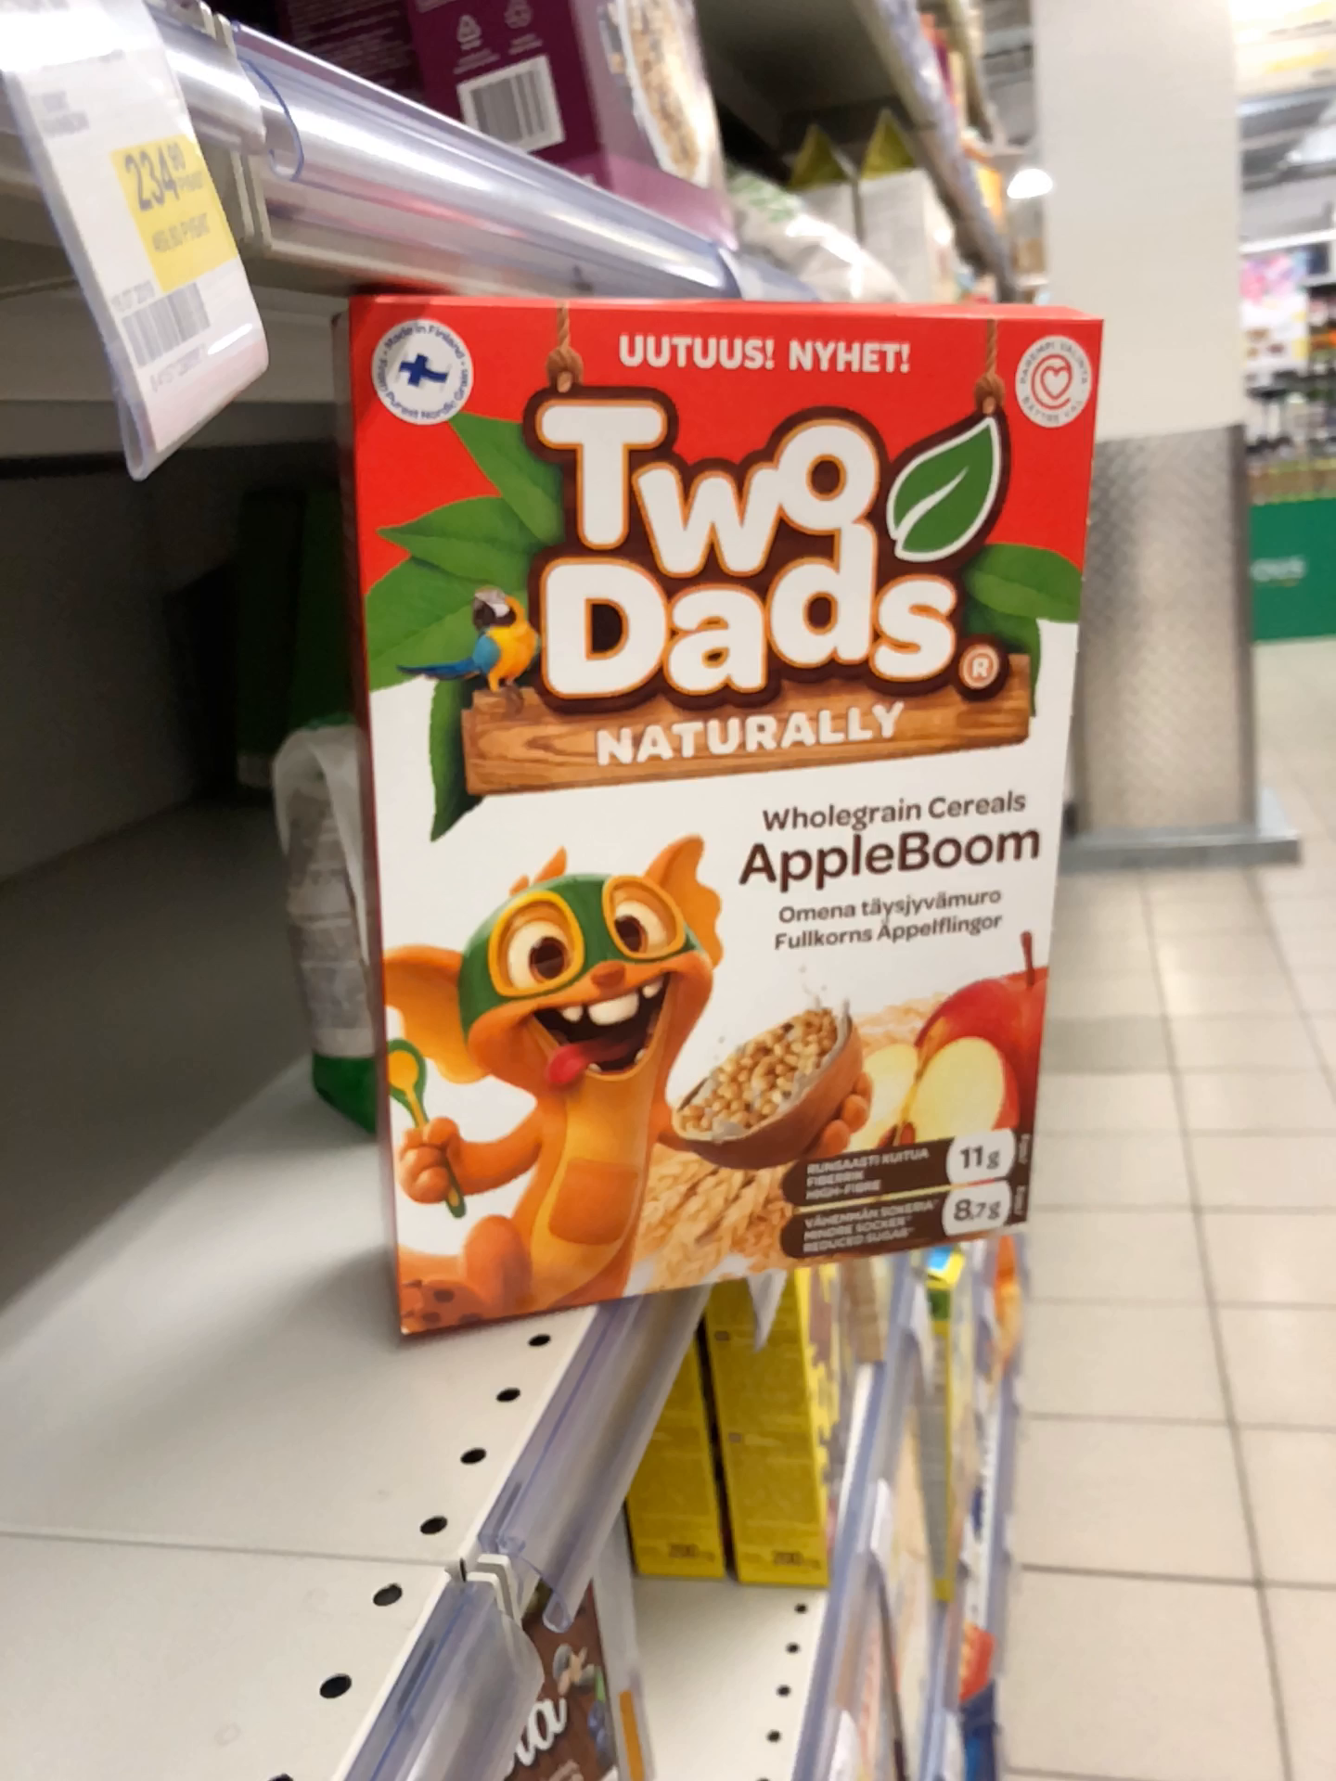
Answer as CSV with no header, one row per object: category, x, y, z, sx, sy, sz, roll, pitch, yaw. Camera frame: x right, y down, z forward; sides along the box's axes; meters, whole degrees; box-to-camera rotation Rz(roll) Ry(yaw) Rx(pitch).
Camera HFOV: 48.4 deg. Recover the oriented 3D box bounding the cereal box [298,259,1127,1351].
cereal box,0.008,-0.026,0.423,0.200,0.269,0.080,-5,17,-17
